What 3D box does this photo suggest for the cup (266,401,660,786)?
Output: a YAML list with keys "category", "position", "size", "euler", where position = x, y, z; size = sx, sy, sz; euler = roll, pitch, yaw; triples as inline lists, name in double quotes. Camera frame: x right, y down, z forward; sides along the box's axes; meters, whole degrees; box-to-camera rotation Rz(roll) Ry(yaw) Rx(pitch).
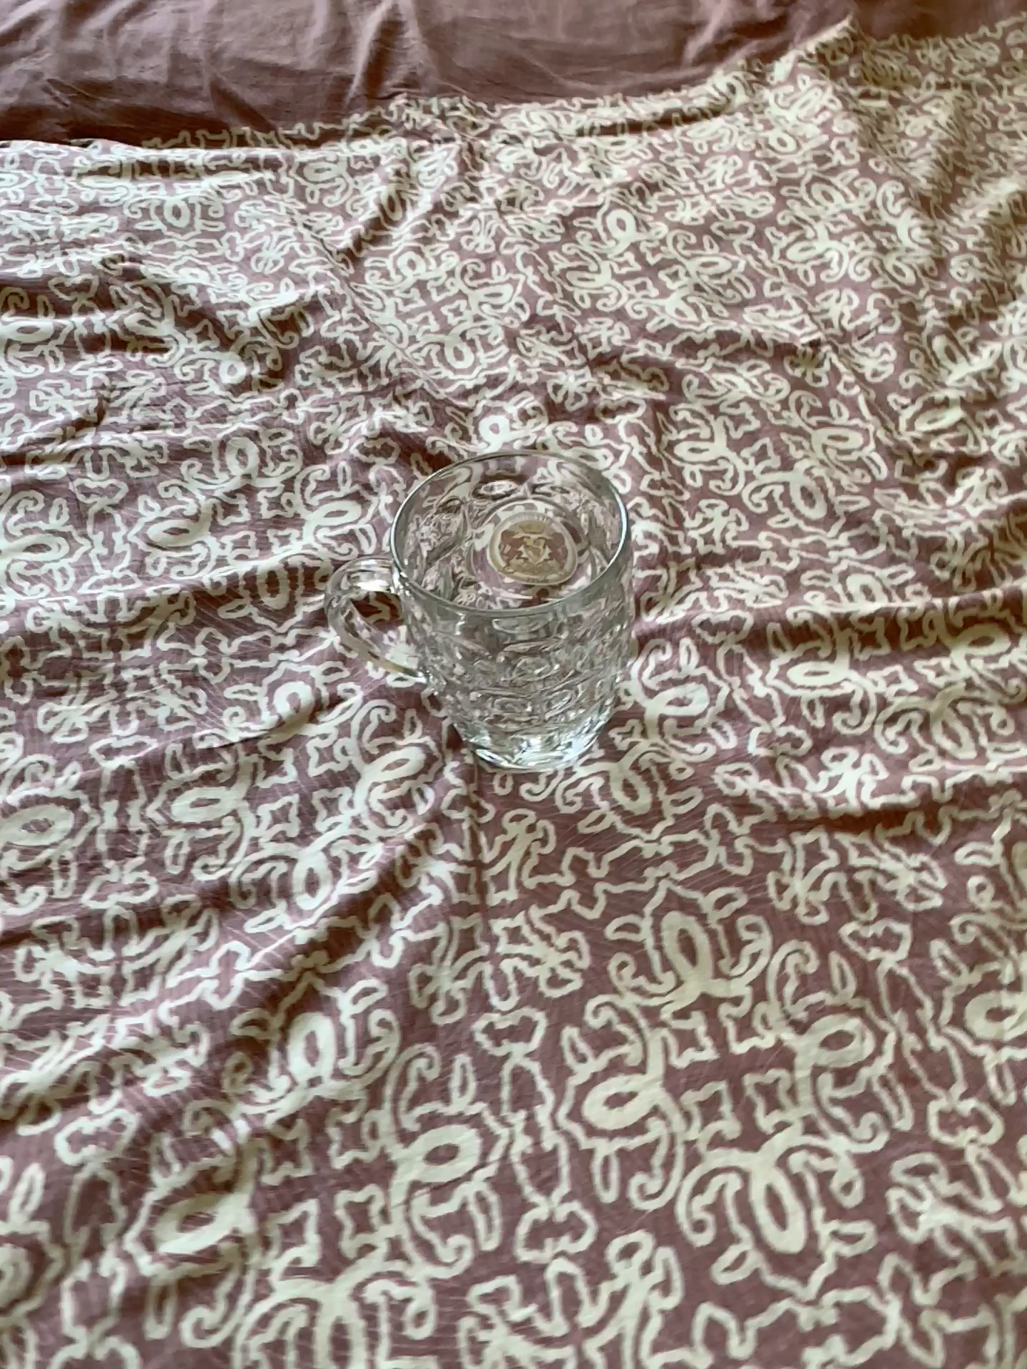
- category: "cup"
  position: [-0.015, -0.034, 0.418]
  size: [0.130, 0.109, 0.091]
  euler: [6, 51, 2]
